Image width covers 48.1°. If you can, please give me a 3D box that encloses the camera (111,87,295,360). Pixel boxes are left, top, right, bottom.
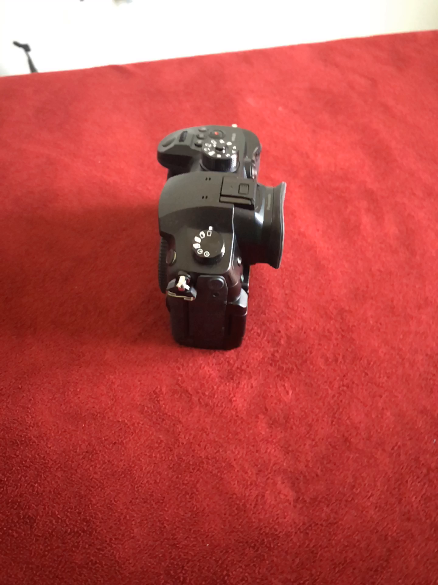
[{"bbox_3d":[-0.002,-0.048,0.315,0.085,0.087,0.148,6,53,3],"label":"camera"}]
